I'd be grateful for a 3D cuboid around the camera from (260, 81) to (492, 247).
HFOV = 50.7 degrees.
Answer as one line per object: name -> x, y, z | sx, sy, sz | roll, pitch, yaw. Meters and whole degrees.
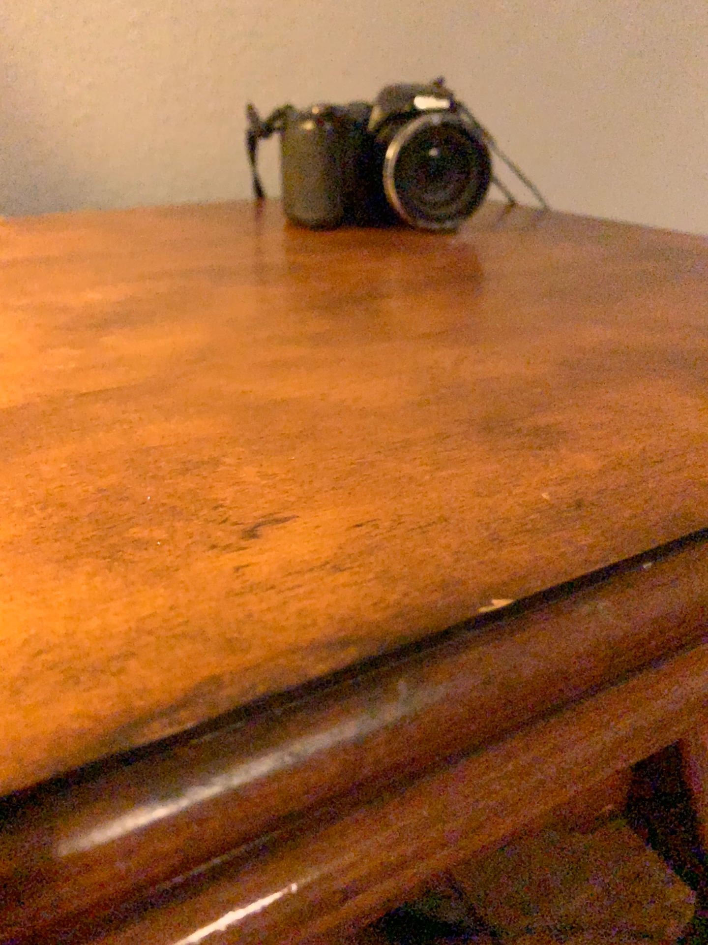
camera -> 0.007, -0.194, 0.464 | 0.110, 0.081, 0.123 | -7, 26, -12
